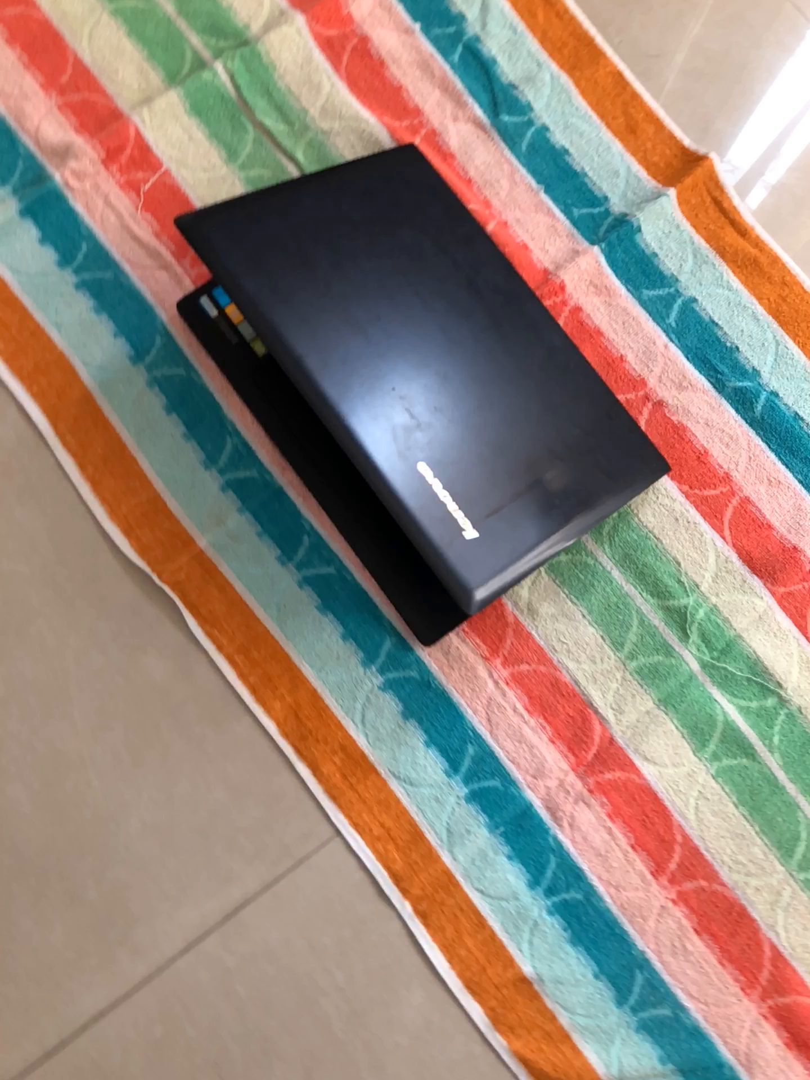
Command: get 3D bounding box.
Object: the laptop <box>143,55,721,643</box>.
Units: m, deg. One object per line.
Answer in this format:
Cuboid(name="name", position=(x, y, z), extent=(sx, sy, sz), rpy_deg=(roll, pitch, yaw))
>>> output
Cuboid(name="laptop", position=(0.019, -0.144, 0.702), extent=(0.253, 0.126, 0.363), rpy_deg=(-36, 84, -10))
